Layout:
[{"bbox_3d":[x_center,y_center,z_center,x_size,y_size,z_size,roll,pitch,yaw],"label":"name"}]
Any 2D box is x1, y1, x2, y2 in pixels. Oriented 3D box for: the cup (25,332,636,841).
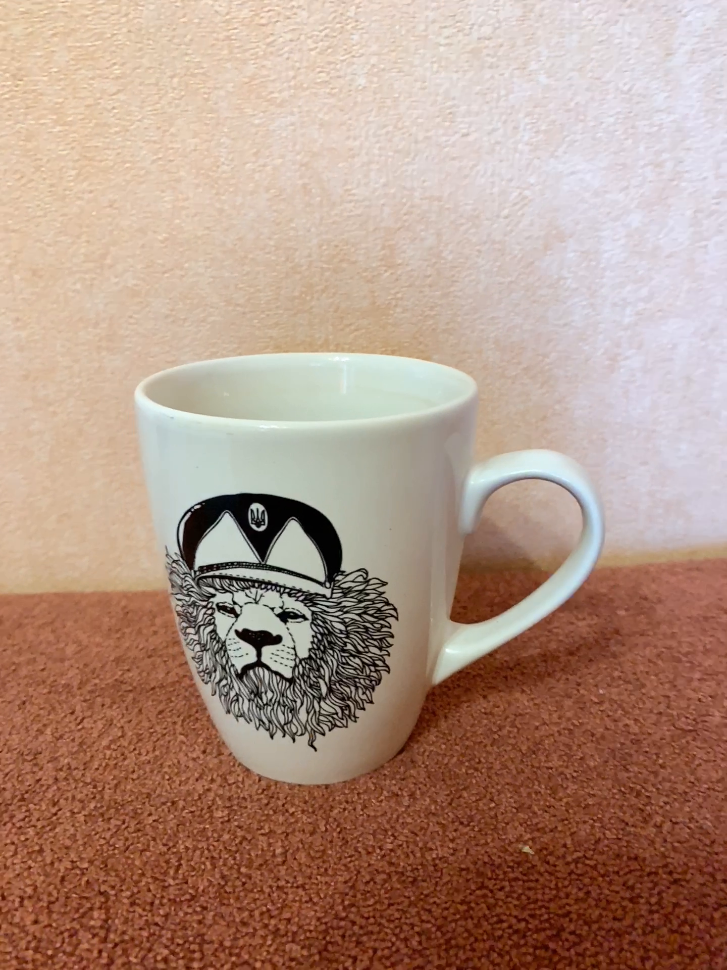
[{"bbox_3d":[0.001,0.014,0.216,0.126,0.095,0.106,2,22,12],"label":"cup"}]
